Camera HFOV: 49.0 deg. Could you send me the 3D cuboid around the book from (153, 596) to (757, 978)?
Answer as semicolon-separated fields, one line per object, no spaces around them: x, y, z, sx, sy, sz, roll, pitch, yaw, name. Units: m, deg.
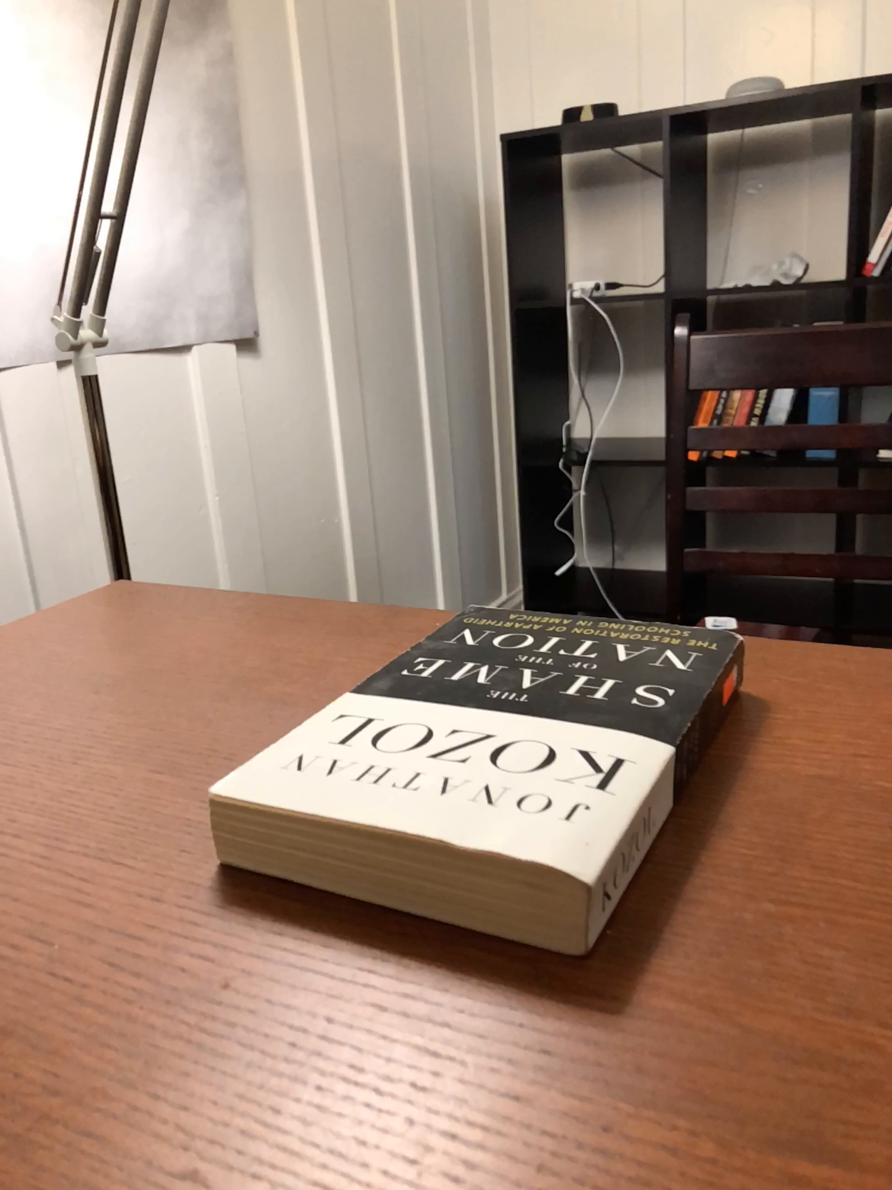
0.023;0.054;0.403;0.160;0.030;0.231;5;19;27;book
